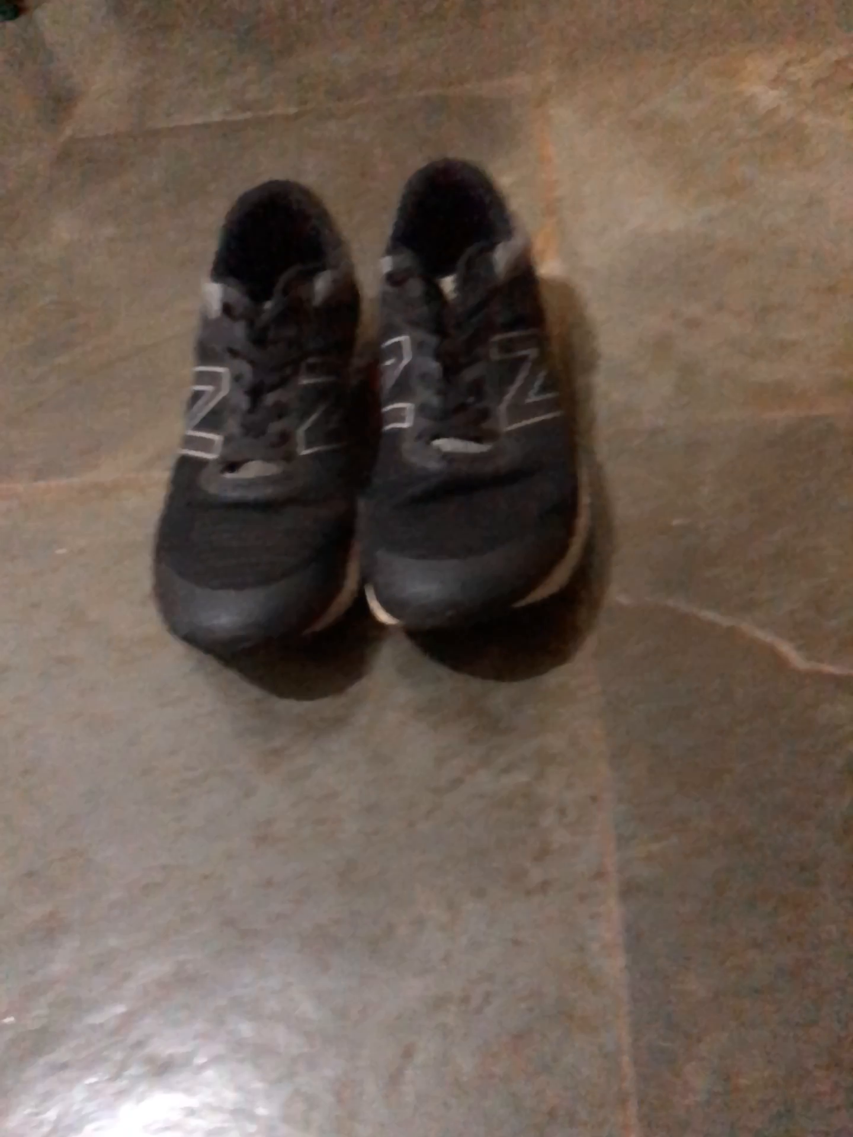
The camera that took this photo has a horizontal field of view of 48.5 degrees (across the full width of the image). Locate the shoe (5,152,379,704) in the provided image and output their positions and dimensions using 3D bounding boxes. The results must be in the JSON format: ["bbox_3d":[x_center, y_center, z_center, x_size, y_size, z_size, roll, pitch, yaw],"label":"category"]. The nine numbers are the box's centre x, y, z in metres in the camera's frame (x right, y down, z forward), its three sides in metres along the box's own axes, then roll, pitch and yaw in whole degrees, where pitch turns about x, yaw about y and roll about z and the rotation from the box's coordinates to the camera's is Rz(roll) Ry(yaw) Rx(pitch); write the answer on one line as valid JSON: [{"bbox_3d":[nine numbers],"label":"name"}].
[{"bbox_3d":[-0.091,-0.079,0.459,0.120,0.099,0.261,-6,51,5],"label":"shoe"}]

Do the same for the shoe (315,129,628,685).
[{"bbox_3d":[0.017,-0.088,0.451,0.110,0.099,0.261,-6,51,5],"label":"shoe"}]
